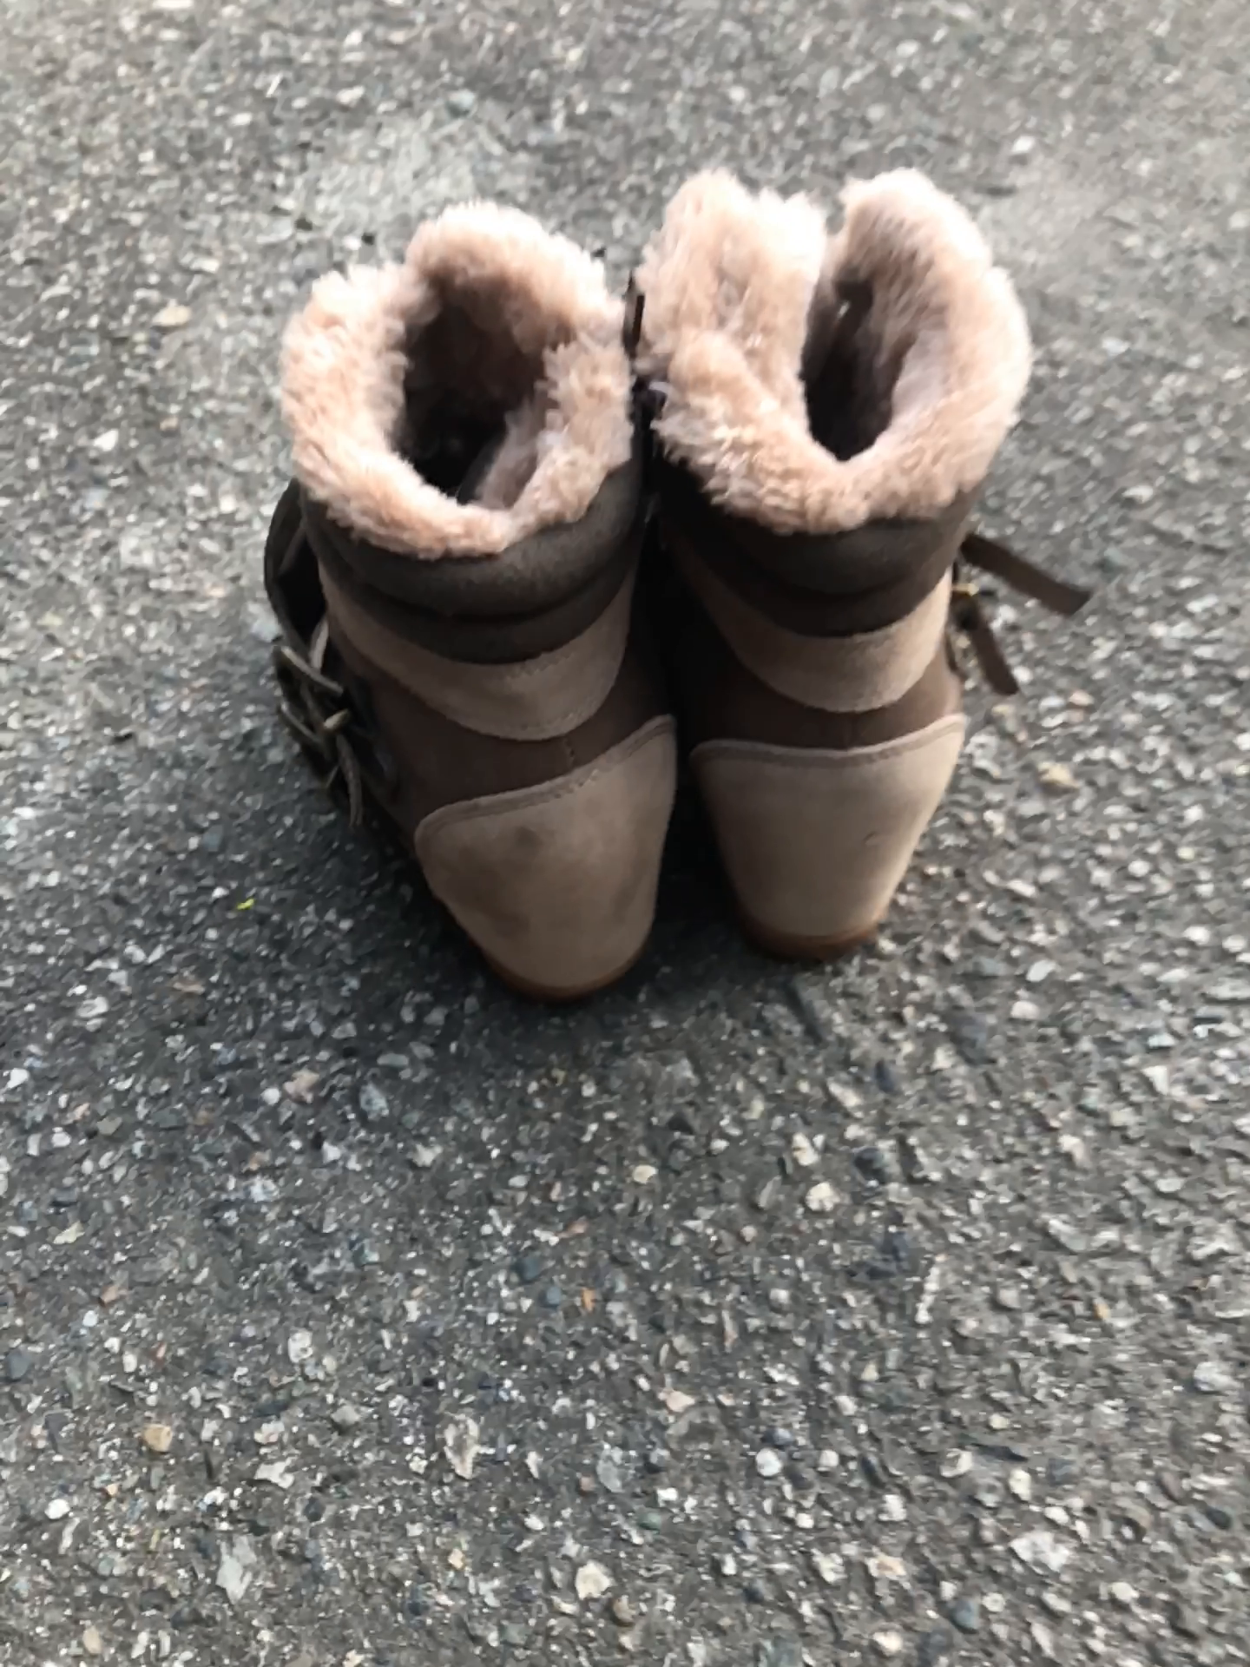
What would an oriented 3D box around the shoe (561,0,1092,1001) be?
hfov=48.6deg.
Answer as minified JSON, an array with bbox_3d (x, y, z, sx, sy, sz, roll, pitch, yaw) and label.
[{"bbox_3d":[0.040,-0.101,0.402,0.090,0.179,0.231,-5,52,0],"label":"shoe"}]

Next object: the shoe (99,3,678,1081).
[{"bbox_3d":[-0.066,-0.084,0.392,0.100,0.179,0.231,-13,53,-5],"label":"shoe"}]
